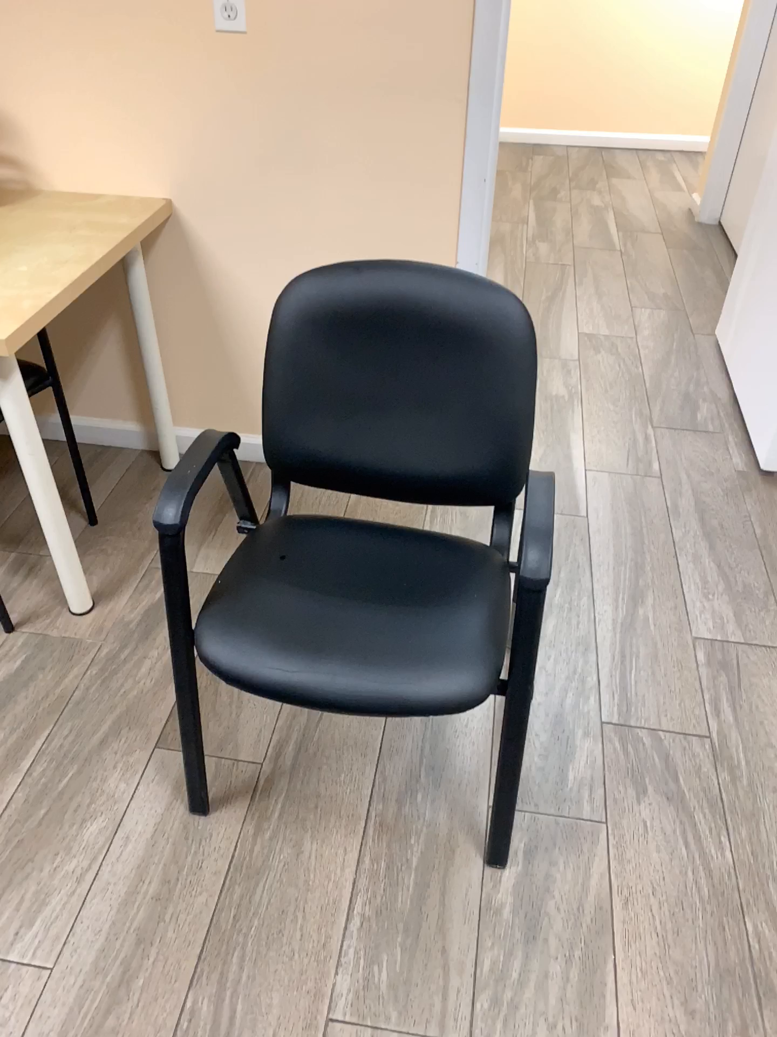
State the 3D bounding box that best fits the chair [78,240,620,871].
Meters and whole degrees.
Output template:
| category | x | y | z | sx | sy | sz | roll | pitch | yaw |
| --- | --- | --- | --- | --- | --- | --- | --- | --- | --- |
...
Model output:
| category | x | y | z | sx | sy | sz | roll | pitch | yaw |
| --- | --- | --- | --- | --- | --- | --- | --- | --- | --- |
| chair | -0.008 | 0.050 | 1.354 | 0.606 | 0.795 | 0.627 | 7 | 39 | 7 |
